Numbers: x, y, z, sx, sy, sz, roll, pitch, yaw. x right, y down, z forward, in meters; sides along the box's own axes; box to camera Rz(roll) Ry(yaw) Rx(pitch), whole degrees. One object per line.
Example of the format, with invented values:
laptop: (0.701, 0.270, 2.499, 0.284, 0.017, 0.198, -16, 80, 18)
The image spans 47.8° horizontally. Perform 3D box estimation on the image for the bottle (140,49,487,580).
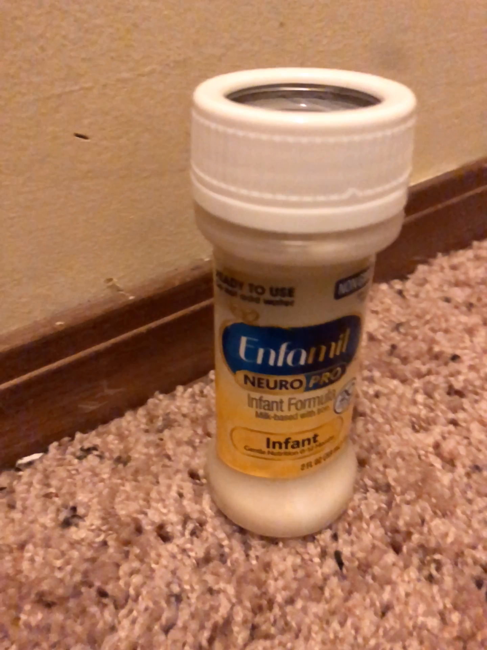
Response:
bottle: (0.010, 0.003, 0.125, 0.050, 0.110, 0.050, 0, 37, 0)
